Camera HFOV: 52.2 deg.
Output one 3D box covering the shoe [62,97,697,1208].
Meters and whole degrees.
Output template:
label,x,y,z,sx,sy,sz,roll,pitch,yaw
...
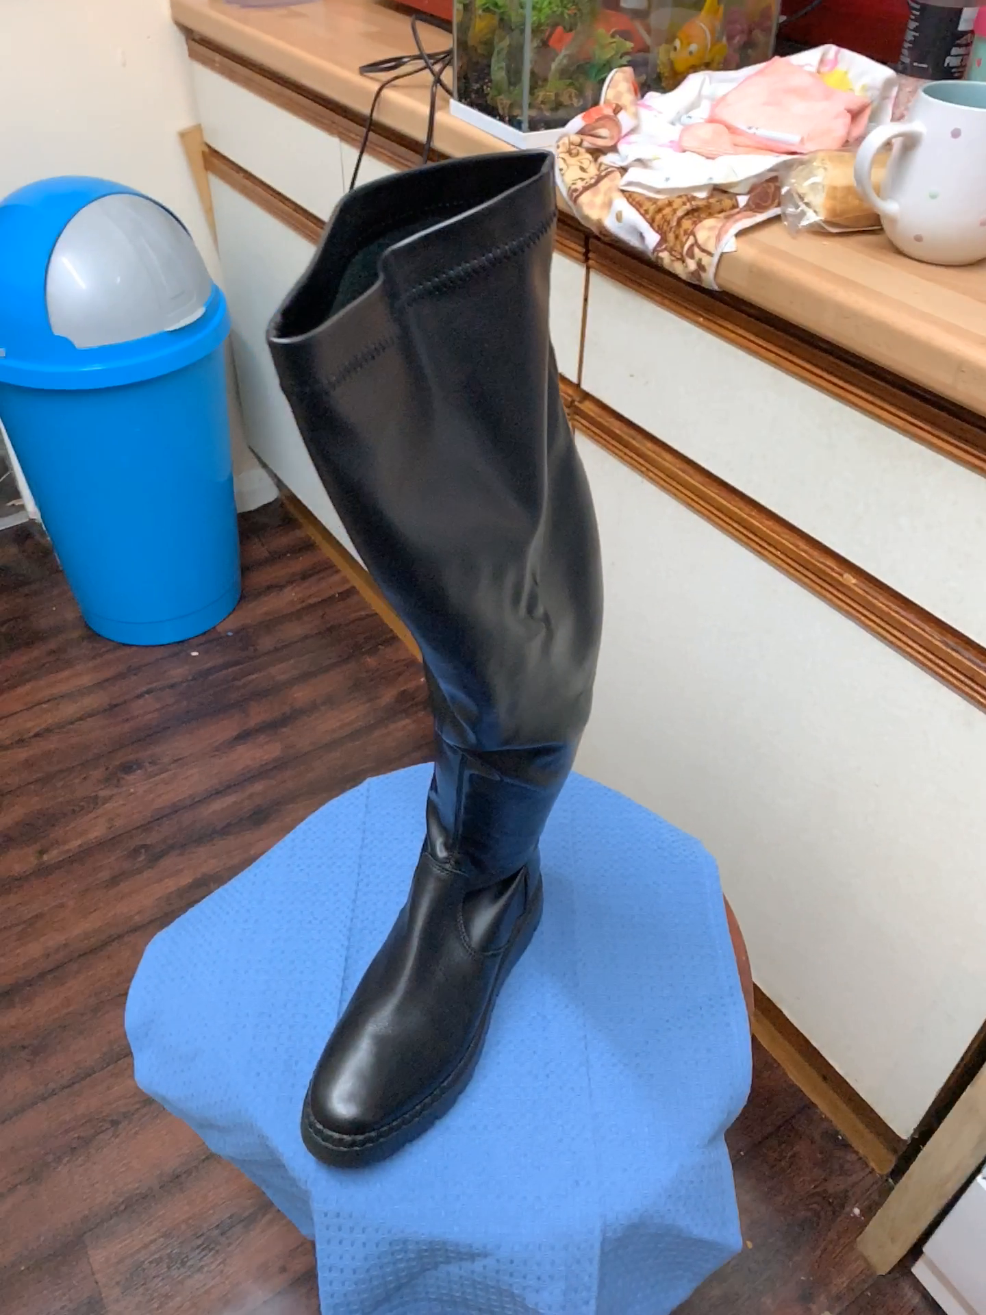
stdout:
label,x,y,z,sx,sy,sz,roll,pitch,yaw
shoe,-0.026,0.029,0.542,0.107,0.535,0.273,19,42,19
